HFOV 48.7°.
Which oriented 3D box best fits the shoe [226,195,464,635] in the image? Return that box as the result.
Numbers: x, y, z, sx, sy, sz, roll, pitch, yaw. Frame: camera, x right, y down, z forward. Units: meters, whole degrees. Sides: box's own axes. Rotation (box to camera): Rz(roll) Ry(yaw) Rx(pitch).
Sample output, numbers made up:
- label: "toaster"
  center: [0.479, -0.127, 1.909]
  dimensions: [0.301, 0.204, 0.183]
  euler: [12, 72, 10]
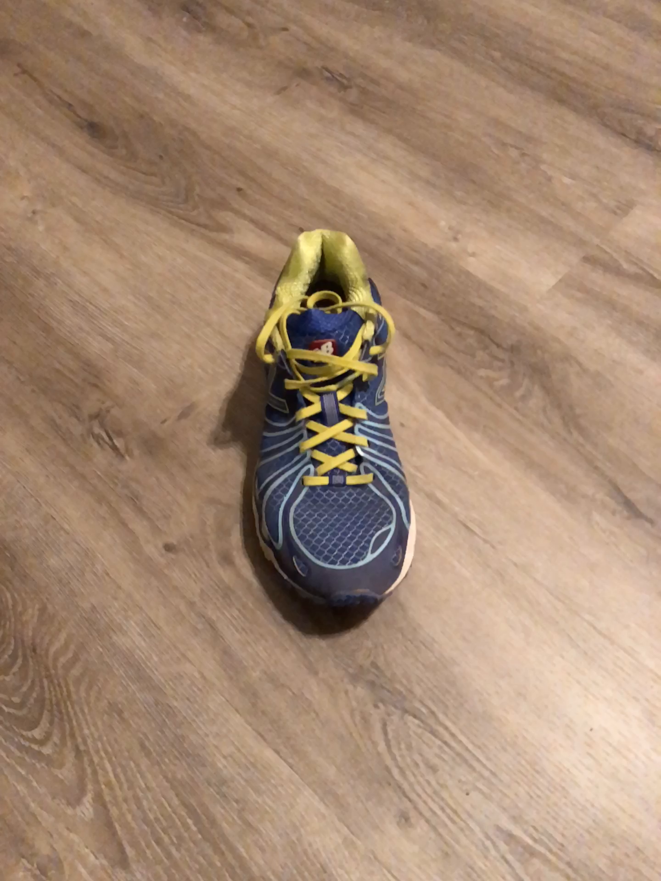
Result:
- label: "shoe"
  center: [0.001, -0.023, 0.446]
  dimensions: [0.110, 0.100, 0.251]
  euler: [-3, 58, -1]
